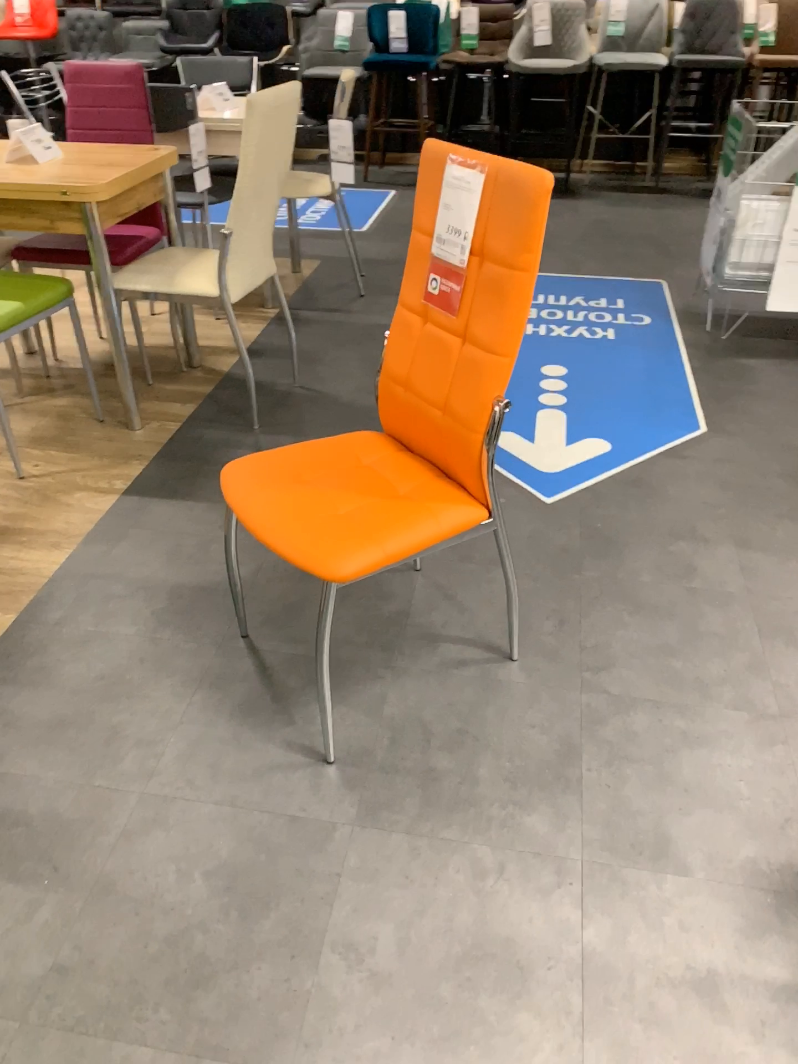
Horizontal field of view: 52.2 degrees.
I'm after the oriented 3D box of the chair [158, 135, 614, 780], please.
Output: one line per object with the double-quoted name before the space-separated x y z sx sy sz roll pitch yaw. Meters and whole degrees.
"chair" -0.038 -0.145 1.561 0.541 1.014 0.492 -19 39 -26
